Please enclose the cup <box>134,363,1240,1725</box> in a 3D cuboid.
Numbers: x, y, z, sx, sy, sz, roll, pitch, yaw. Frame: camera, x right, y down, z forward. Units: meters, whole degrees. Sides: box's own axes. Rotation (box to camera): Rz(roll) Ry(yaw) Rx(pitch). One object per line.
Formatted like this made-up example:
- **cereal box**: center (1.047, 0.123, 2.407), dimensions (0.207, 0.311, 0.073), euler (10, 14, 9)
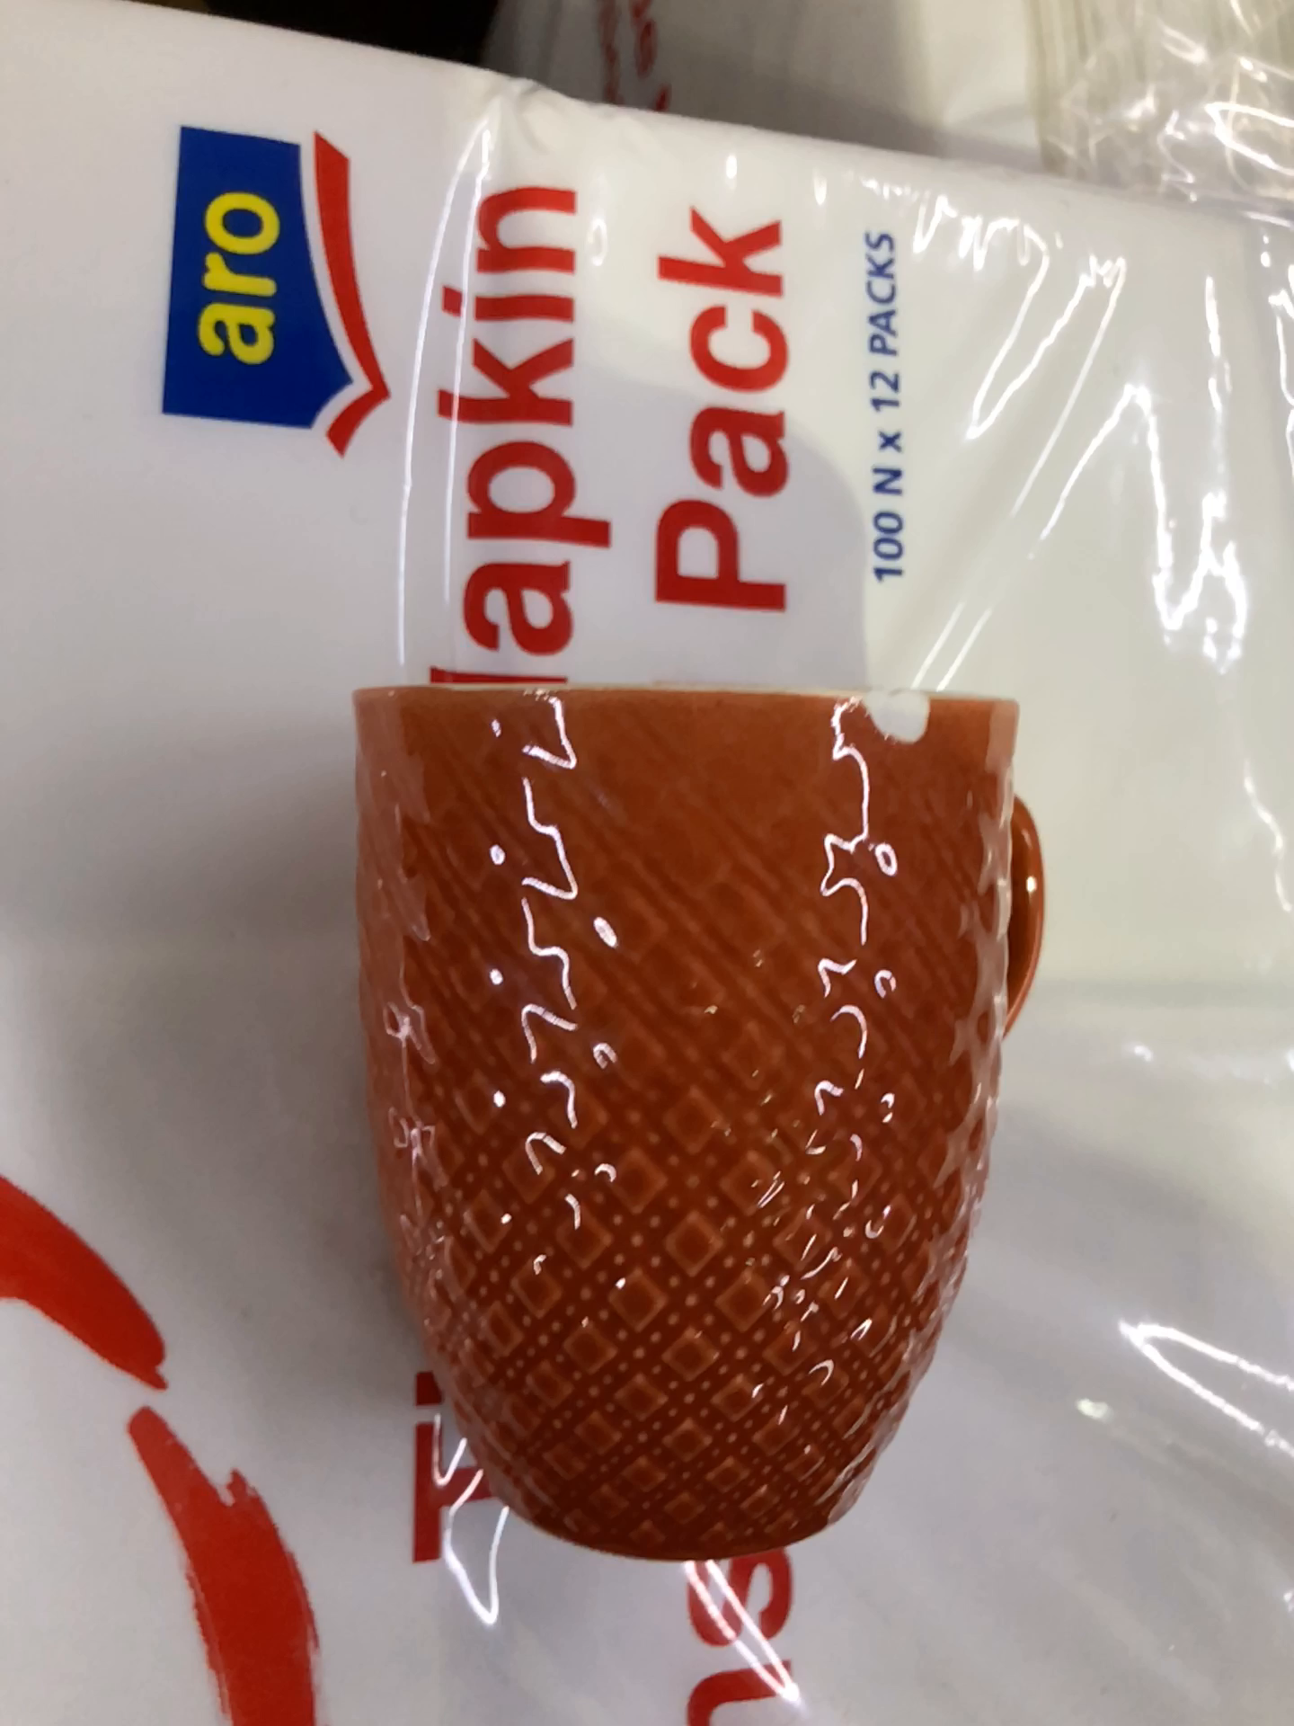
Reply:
- **cup**: center (0.012, 0.016, 0.150), dimensions (0.070, 0.100, 0.090), euler (-2, 87, 33)
